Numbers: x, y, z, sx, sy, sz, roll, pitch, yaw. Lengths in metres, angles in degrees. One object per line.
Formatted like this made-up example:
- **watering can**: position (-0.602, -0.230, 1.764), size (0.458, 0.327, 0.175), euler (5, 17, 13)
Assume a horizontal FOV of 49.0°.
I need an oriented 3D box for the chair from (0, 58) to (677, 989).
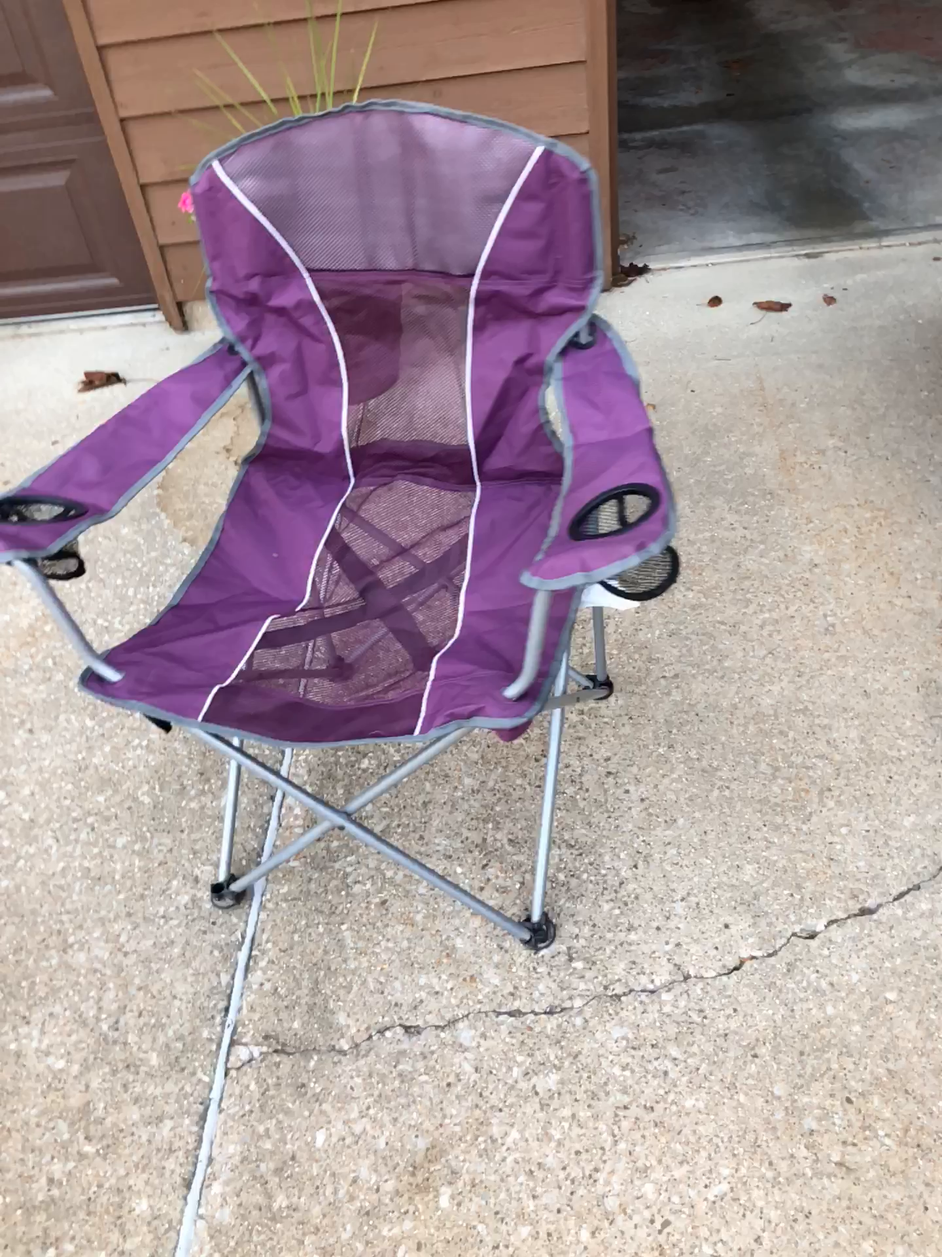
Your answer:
- **chair**: position (-0.145, -0.140, 1.355), size (0.760, 0.878, 0.712), euler (3, 41, 15)
